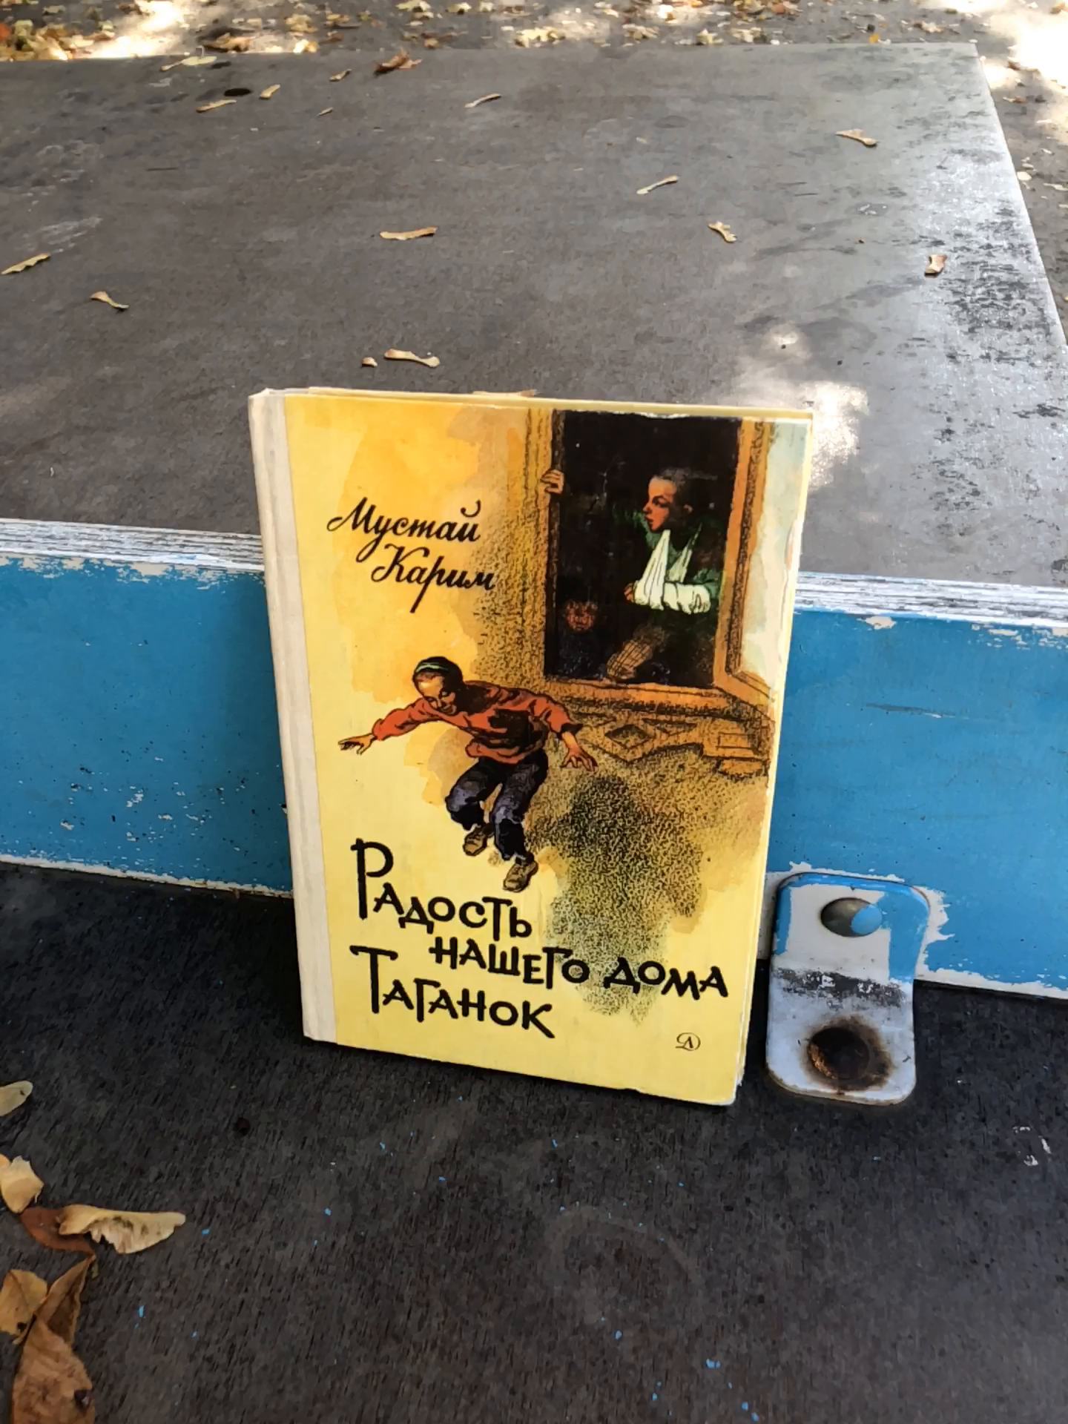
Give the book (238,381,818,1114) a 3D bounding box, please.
[{"bbox_3d":[-0.005,0.016,0.358,0.155,0.218,0.020,6,23,11],"label":"book"}]
